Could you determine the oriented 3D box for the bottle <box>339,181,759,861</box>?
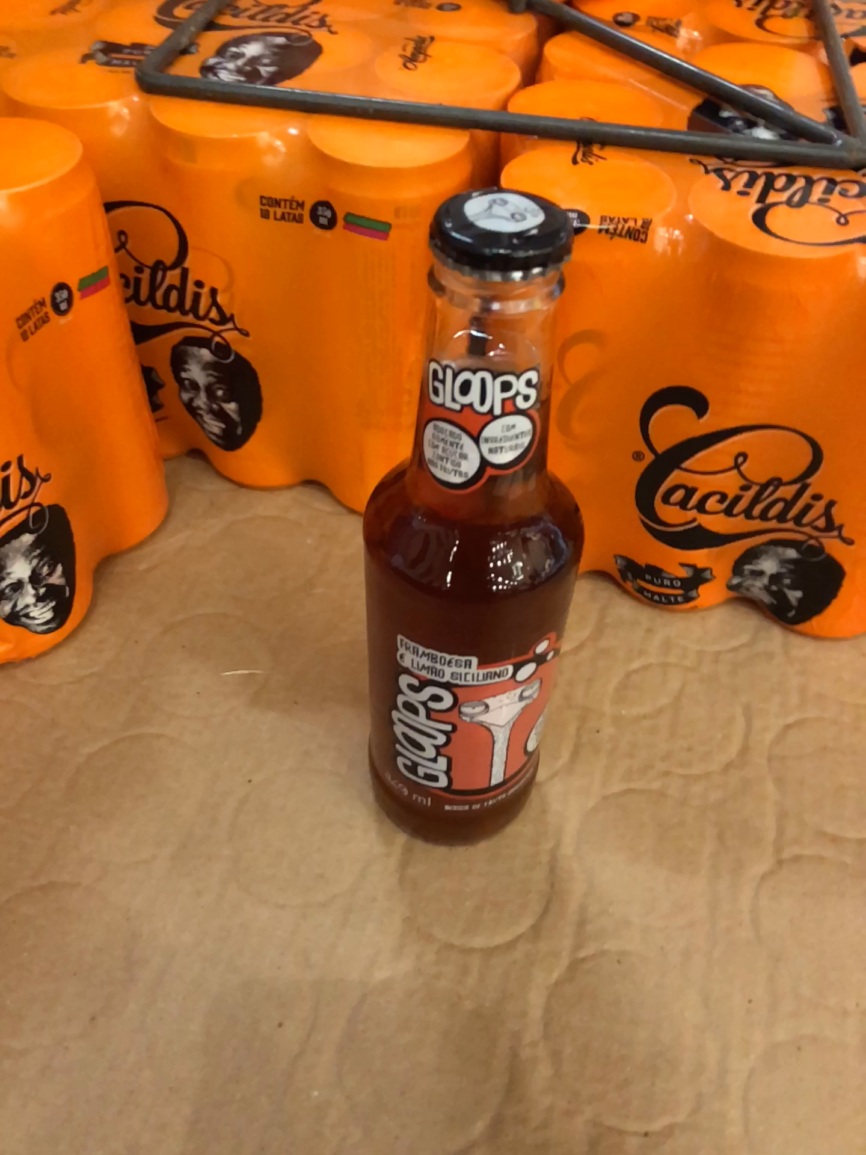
[{"bbox_3d":[0.015,0.003,0.246,0.070,0.189,0.050,-2,47,-4],"label":"bottle"}]
